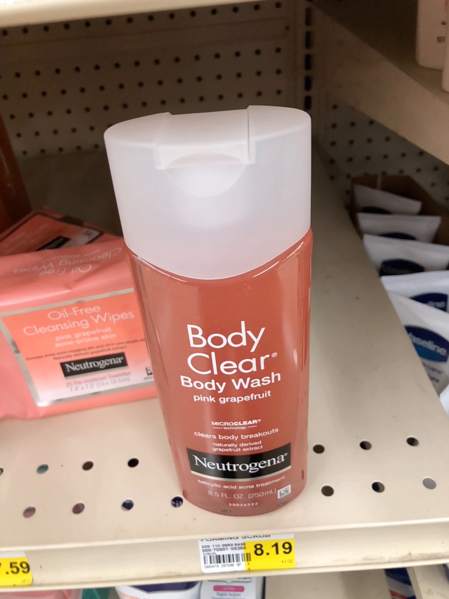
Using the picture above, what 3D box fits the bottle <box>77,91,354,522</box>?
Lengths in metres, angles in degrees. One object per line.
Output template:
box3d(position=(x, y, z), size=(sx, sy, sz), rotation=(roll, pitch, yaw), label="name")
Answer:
box3d(position=(0.005, 0.024, 0.198), size=(0.070, 0.190, 0.030), rotation=(-3, 39, 3), label="bottle")
